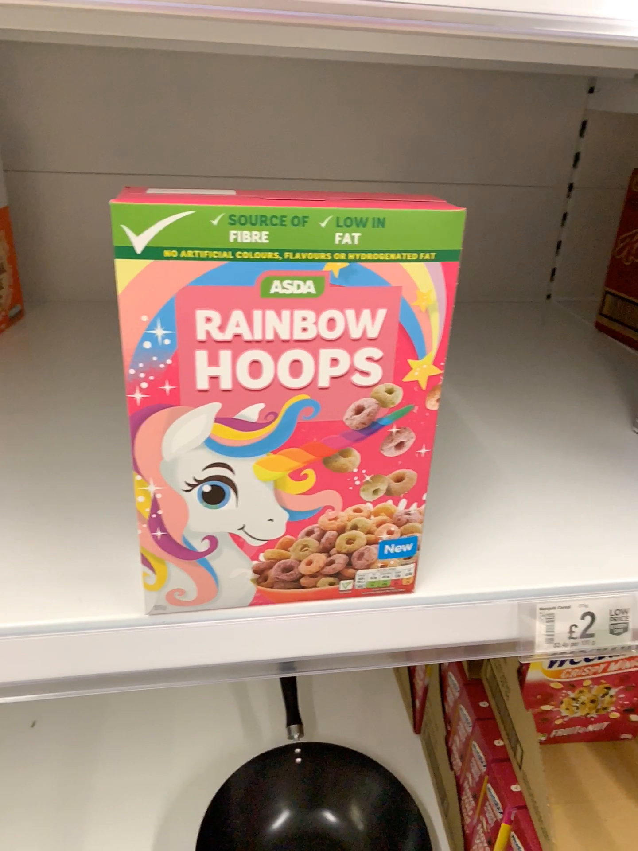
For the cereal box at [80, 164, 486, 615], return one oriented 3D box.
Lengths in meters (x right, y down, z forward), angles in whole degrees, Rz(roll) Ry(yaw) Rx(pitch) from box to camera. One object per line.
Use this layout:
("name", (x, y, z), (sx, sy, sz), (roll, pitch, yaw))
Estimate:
("cereal box", (-0.025, -0.014, 0.425), (0.210, 0.278, 0.060), (-2, 27, -10))
